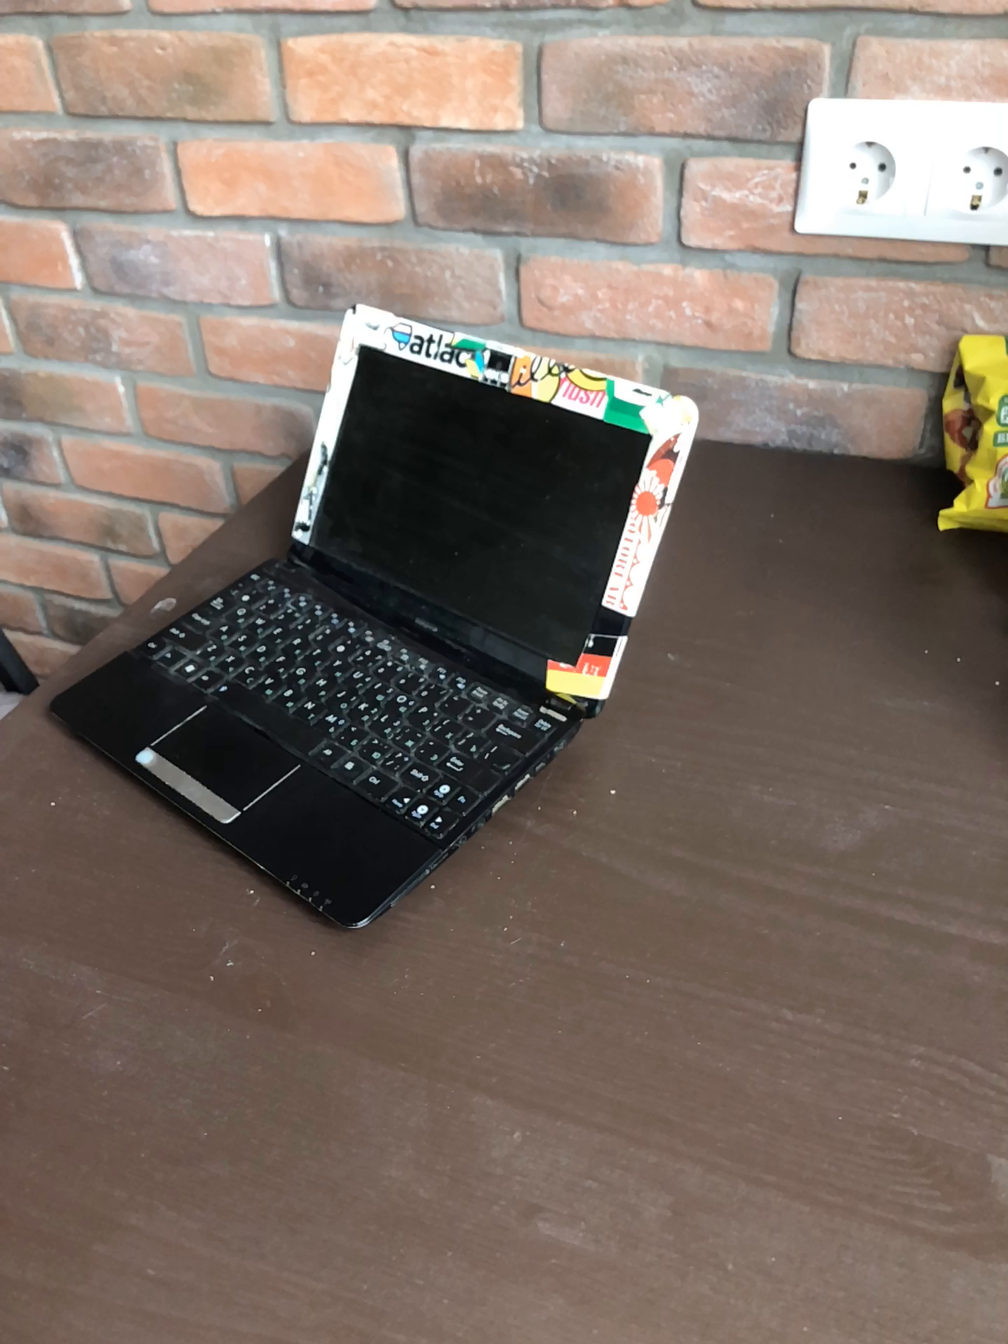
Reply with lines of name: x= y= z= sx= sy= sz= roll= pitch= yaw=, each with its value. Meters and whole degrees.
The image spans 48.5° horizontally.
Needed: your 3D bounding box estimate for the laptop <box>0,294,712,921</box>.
laptop: x=-0.081 y=-0.063 z=0.590 sx=0.258 sy=0.140 sz=0.268 roll=27 pitch=49 yaw=34
